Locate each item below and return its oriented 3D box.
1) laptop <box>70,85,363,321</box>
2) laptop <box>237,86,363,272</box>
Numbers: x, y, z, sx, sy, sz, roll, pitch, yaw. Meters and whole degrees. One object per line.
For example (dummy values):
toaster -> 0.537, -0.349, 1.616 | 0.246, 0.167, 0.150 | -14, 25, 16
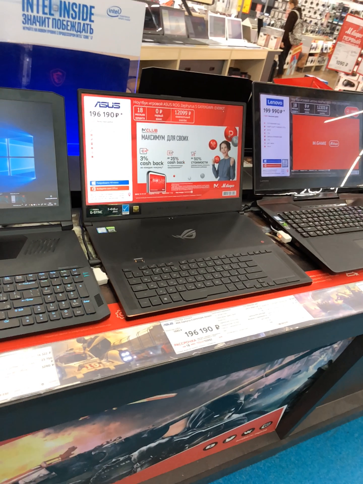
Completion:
laptop -> 0.033, -0.104, 0.772 | 0.391, 0.240, 0.379 | -6, 37, -29
laptop -> 0.434, -0.181, 0.976 | 0.375, 0.248, 0.413 | -6, 38, -25
